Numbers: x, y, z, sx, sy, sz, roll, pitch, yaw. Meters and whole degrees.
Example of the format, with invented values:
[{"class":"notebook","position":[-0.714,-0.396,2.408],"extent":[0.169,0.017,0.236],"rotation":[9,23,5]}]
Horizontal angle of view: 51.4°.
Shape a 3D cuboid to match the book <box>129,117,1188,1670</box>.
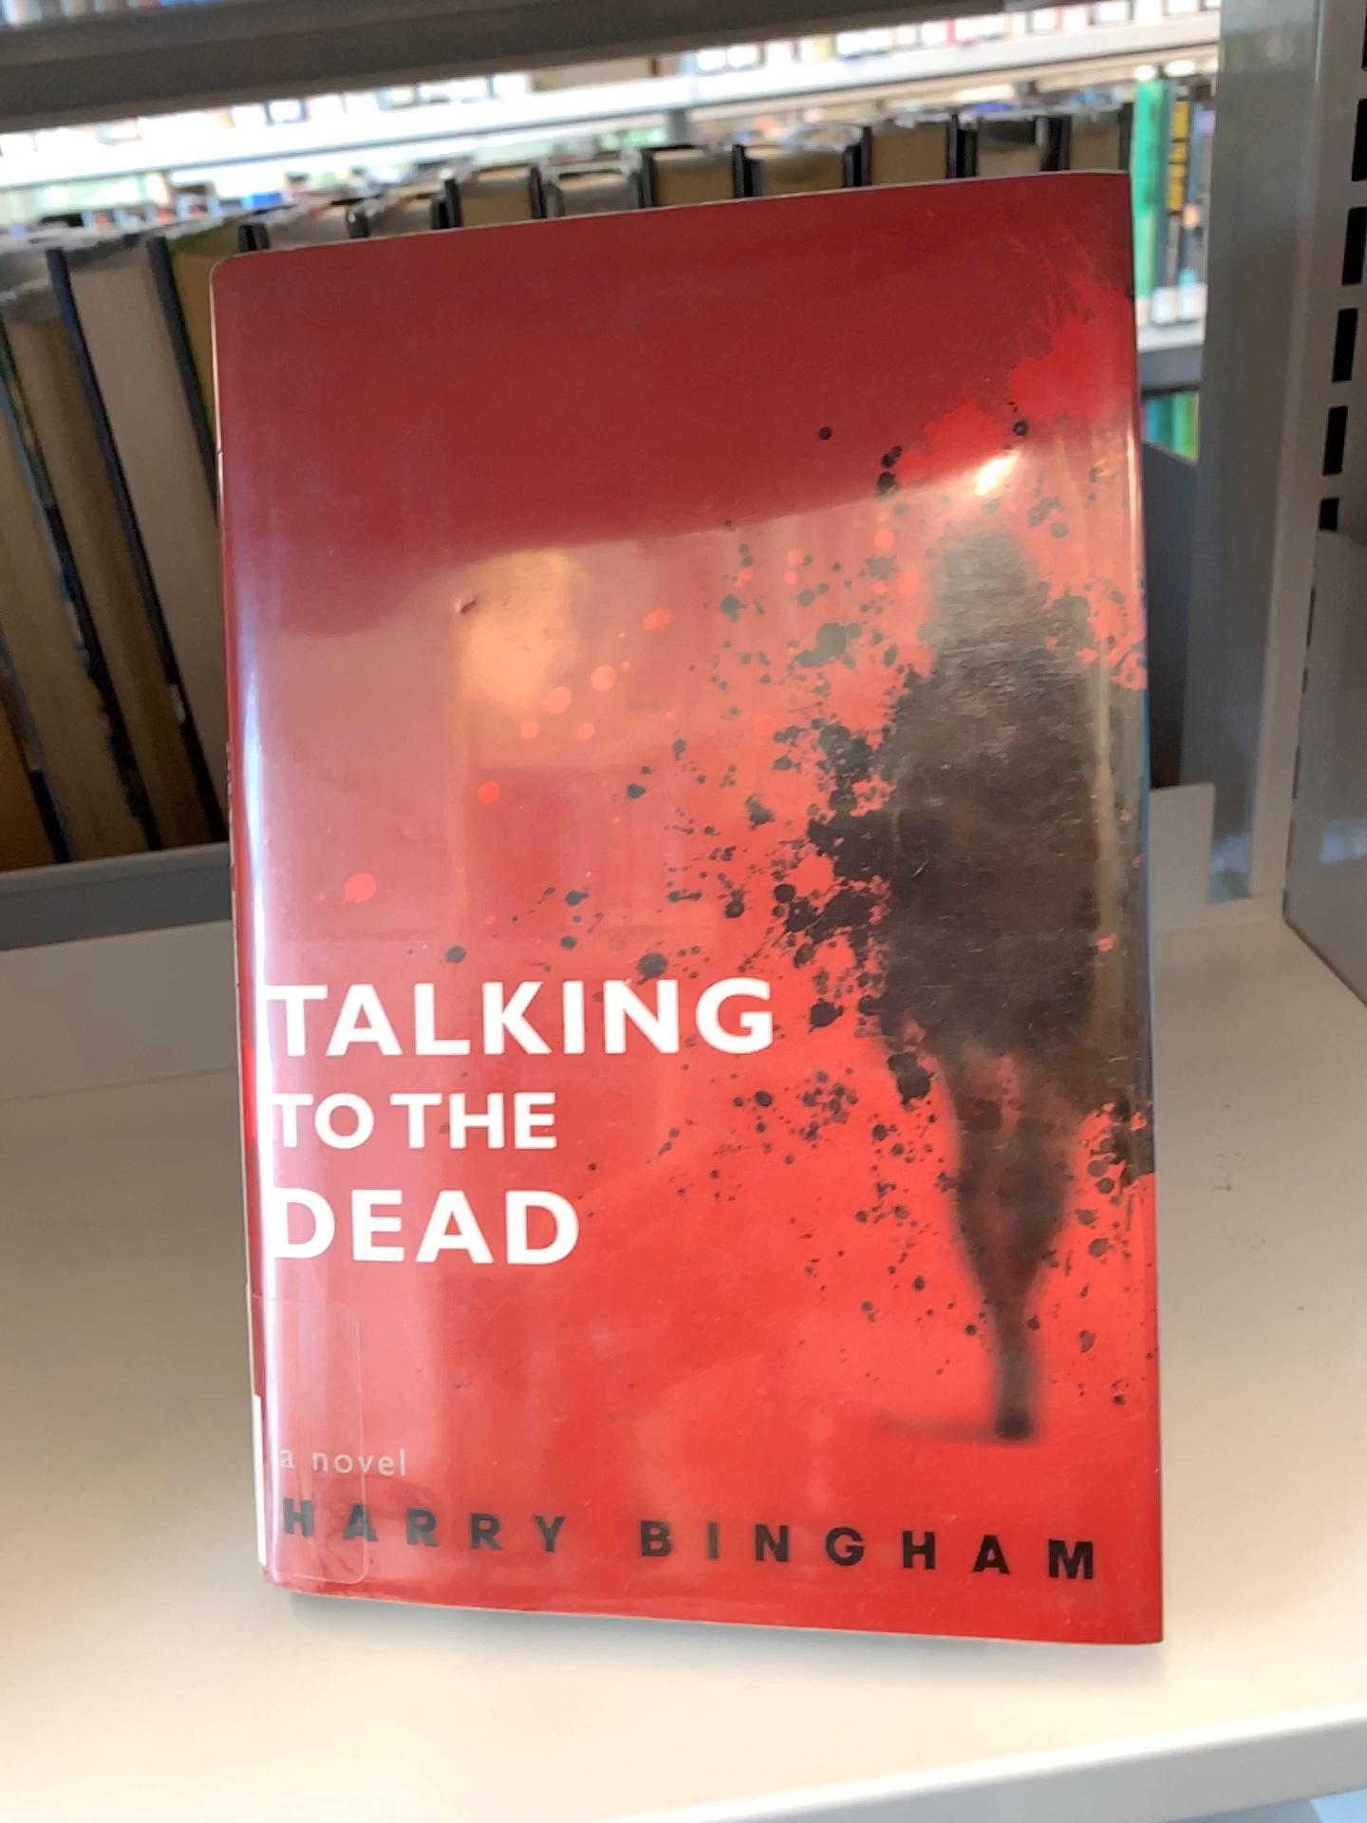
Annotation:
[{"class":"book","position":[-0.006,0.000,0.246],"extent":[0.164,0.231,0.040],"rotation":[-2,1,10]}]
